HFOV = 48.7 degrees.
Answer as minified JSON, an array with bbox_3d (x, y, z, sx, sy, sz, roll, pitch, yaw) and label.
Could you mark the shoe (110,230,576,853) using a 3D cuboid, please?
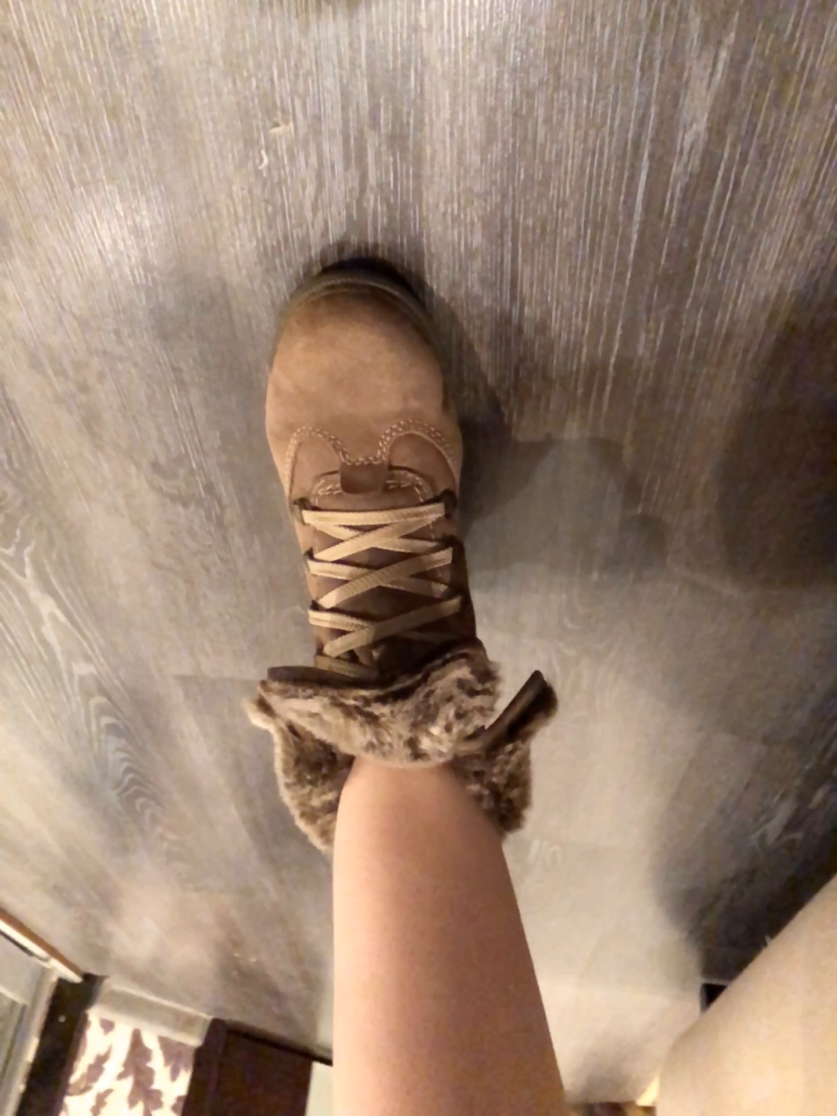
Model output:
[{"bbox_3d":[-0.003,0.014,0.418,0.120,0.149,0.251,-4,142,15],"label":"shoe"}]
